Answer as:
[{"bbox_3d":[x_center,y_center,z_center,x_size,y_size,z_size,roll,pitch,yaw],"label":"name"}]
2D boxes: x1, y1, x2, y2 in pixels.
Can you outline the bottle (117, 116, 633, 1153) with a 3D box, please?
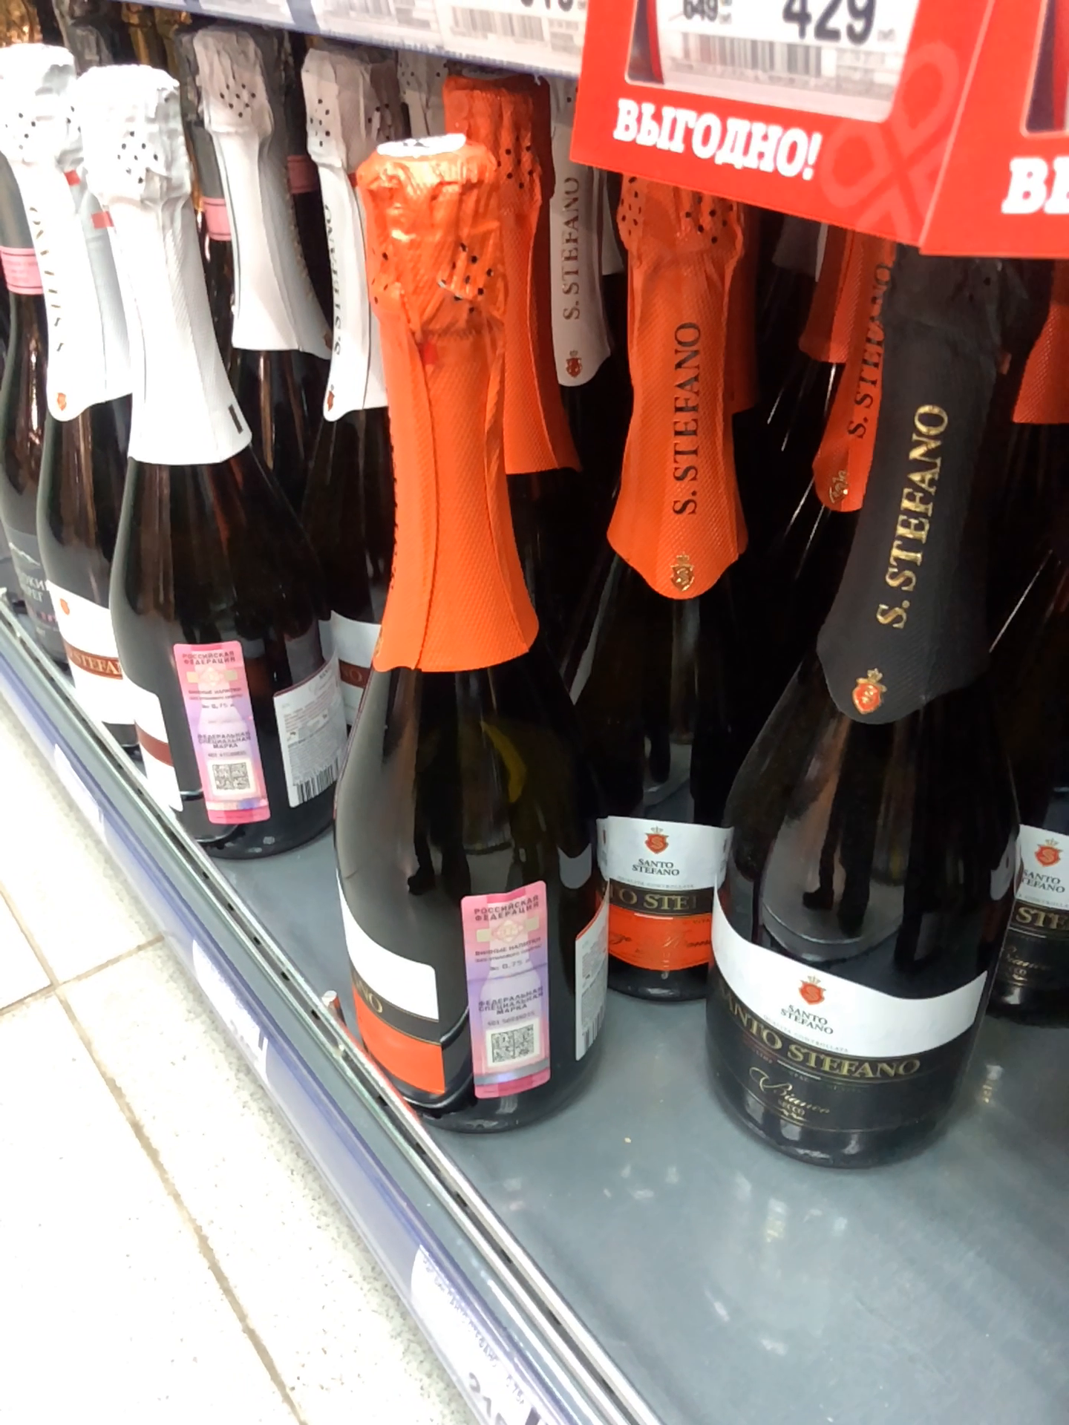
[{"bbox_3d":[-0.027,-0.004,0.354,0.100,0.298,0.101,-1,35,1],"label":"bottle"}]
